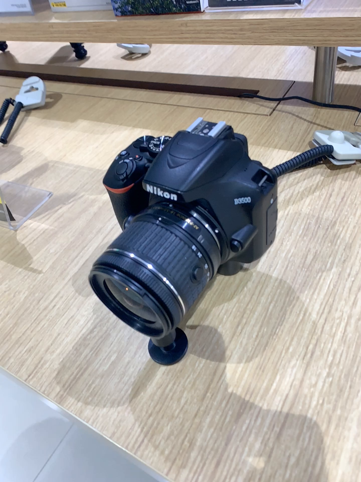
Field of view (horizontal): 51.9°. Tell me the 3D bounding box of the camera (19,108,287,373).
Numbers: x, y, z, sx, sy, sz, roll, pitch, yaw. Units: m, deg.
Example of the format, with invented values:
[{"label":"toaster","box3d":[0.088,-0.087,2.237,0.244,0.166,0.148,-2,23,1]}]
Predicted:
[{"label":"camera","box3d":[-0.005,-0.007,0.225,0.102,0.091,0.104,18,54,29]}]
